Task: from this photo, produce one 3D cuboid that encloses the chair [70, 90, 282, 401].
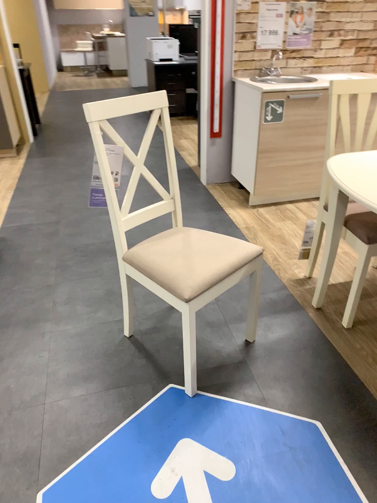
[{"bbox_3d":[-0.041,-0.041,1.487,0.528,0.989,0.437,26,40,37],"label":"chair"}]
